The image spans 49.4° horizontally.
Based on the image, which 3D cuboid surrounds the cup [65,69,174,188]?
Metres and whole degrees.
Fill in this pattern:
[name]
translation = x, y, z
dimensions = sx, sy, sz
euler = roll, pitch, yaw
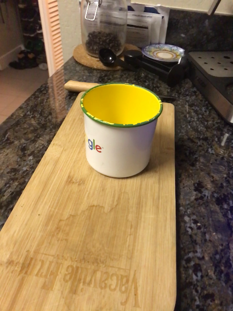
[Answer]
[cup]
translation = -0.005, -0.043, 0.342
dimensions = 0.100, 0.089, 0.131
euler = -9, 43, -14
